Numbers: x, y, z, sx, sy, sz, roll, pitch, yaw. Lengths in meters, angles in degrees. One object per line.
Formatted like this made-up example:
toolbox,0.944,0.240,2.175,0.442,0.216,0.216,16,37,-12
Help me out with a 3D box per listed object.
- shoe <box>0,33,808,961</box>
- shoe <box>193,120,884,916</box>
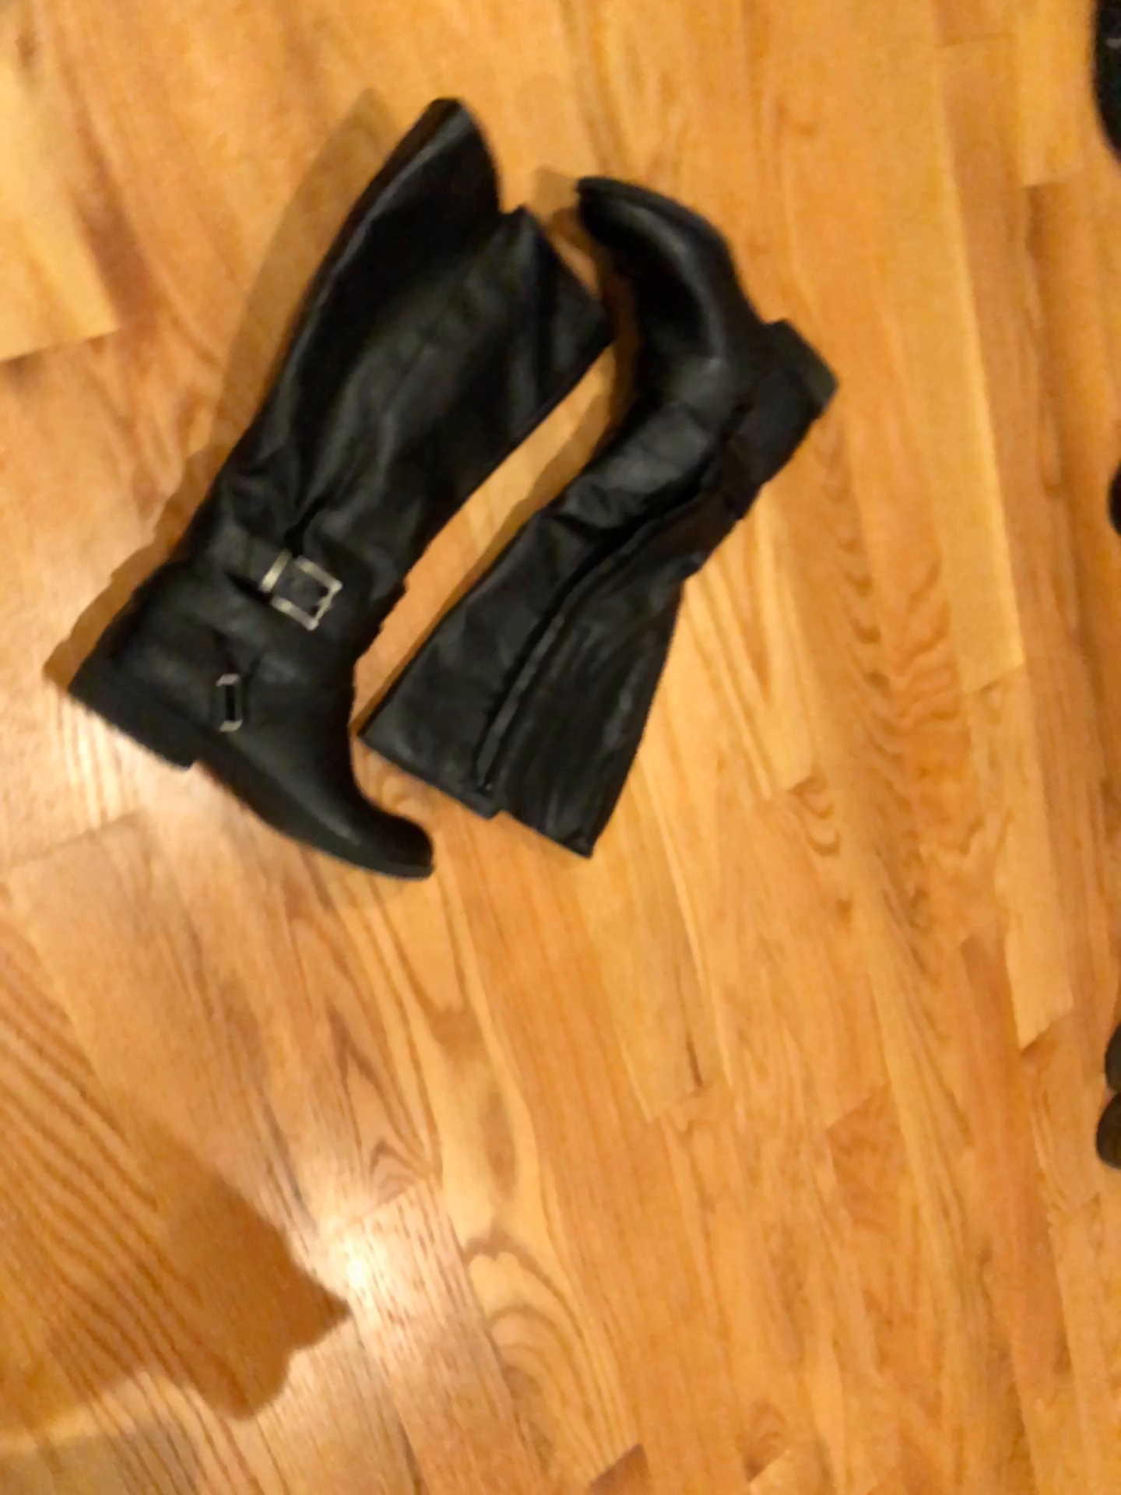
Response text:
shoe,-0.074,-0.130,0.721,0.291,0.104,0.403,40,77,-31
shoe,0.005,-0.135,0.772,0.251,0.094,0.393,42,75,-31
